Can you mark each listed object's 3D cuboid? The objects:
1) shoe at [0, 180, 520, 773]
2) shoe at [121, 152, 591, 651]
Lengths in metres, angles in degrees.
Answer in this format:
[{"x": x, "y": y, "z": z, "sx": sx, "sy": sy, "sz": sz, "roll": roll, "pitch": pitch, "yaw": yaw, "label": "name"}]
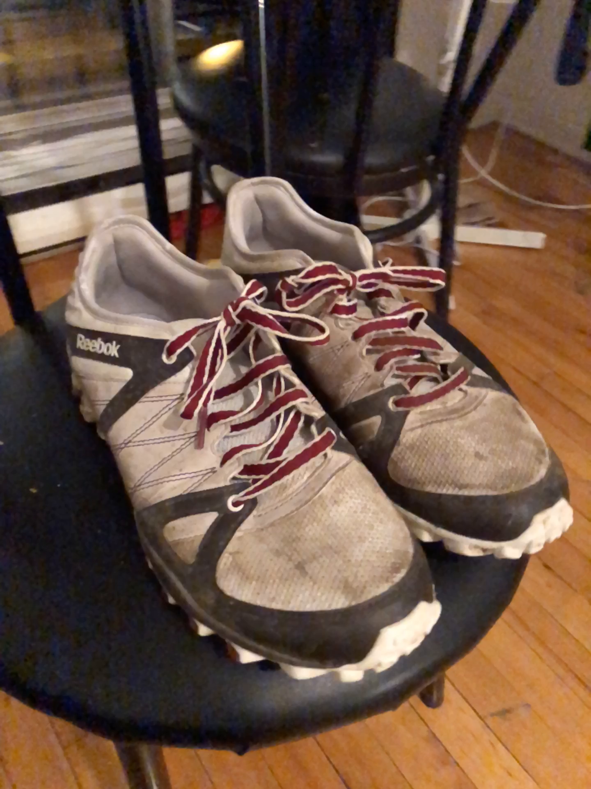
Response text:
[{"x": -0.052, "y": 0.007, "z": 0.340, "sx": 0.100, "sy": 0.099, "sz": 0.312, "roll": -25, "pitch": 50, "yaw": -28, "label": "shoe"}, {"x": 0.026, "y": -0.027, "z": 0.391, "sx": 0.120, "sy": 0.099, "sz": 0.312, "roll": -25, "pitch": 50, "yaw": -28, "label": "shoe"}]
